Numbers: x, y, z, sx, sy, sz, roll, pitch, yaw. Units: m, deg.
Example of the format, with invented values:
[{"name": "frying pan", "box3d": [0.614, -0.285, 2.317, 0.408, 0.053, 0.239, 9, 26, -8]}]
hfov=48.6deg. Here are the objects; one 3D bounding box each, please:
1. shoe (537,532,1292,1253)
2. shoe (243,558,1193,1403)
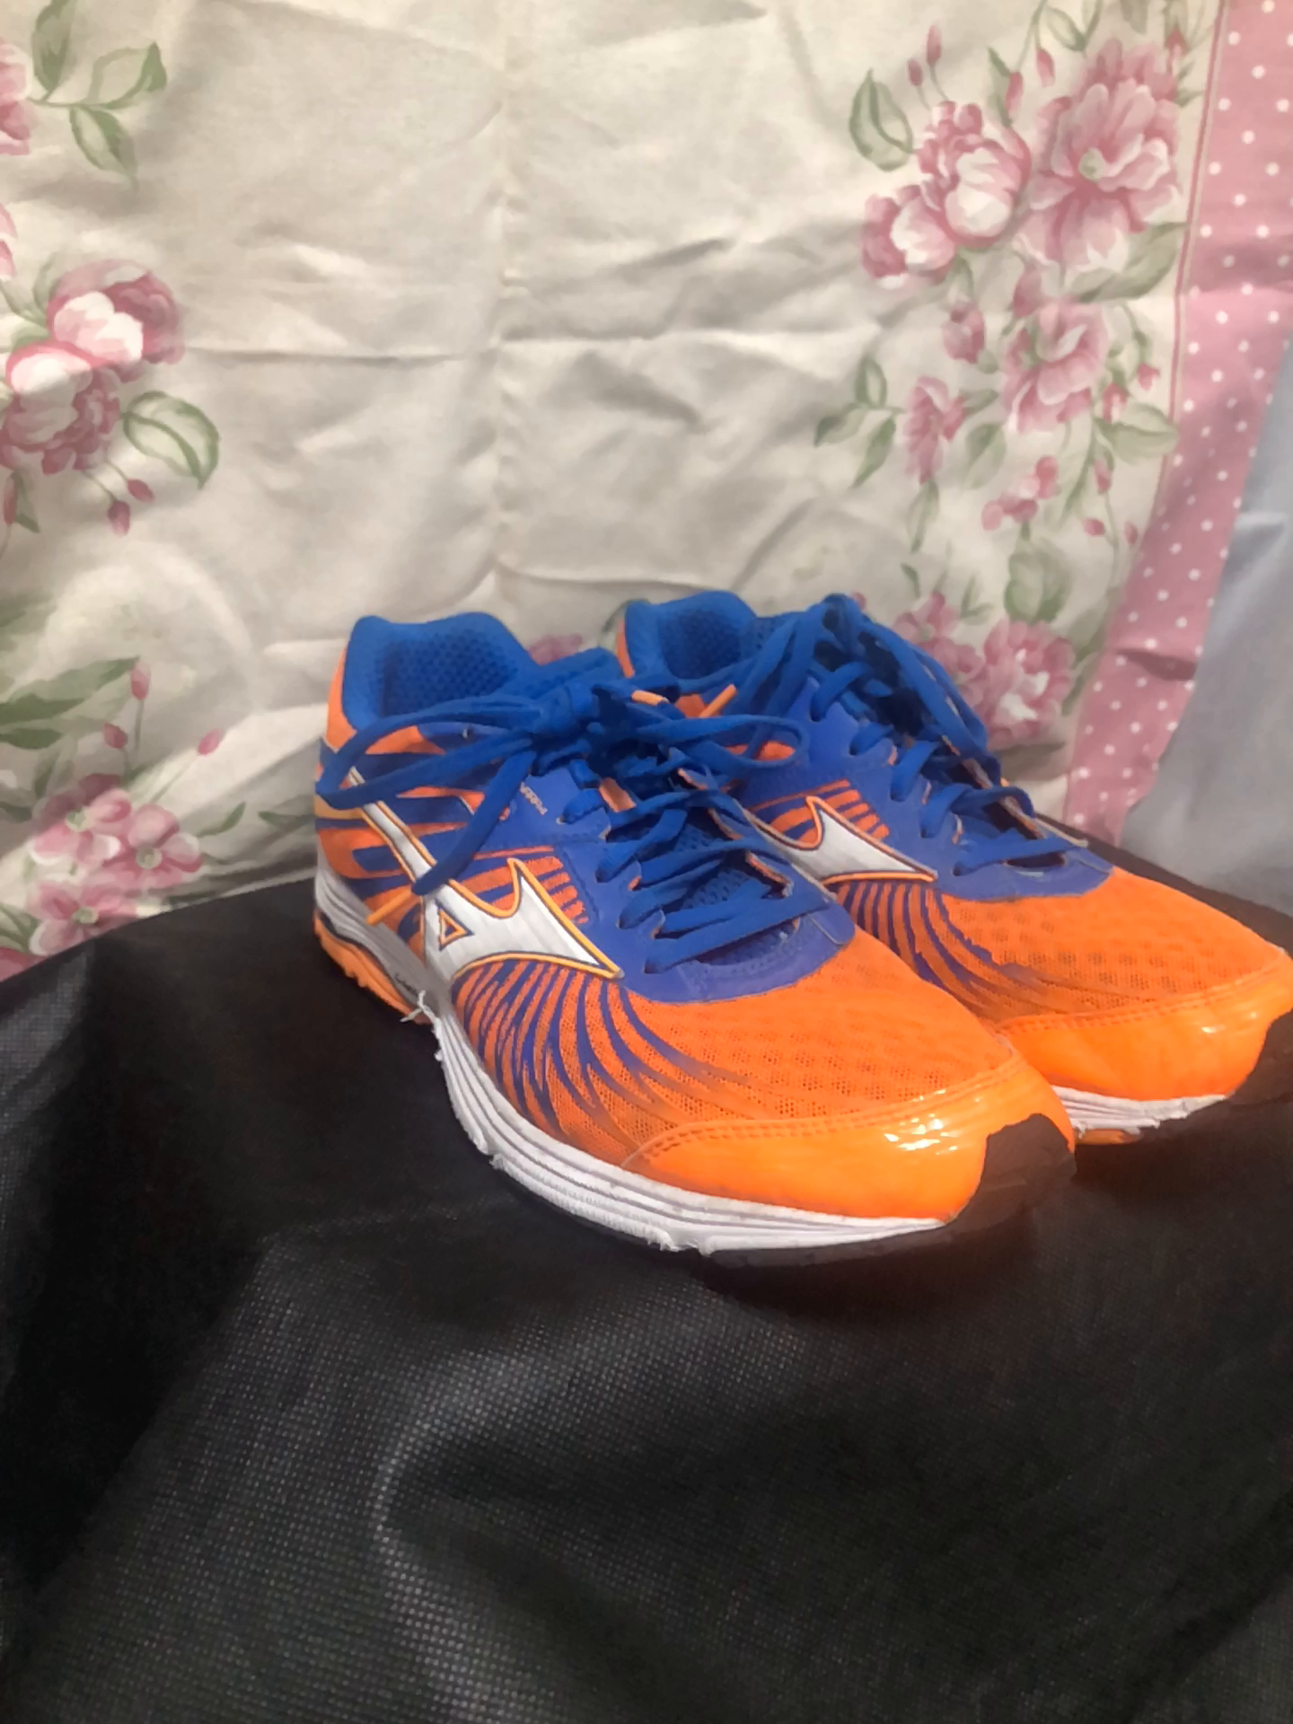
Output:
[{"name": "shoe", "box3d": [0.075, -0.016, 0.392, 0.110, 0.109, 0.221, -13, 26, -33]}, {"name": "shoe", "box3d": [-0.003, 0.001, 0.354, 0.110, 0.109, 0.221, -13, 26, -33]}]
